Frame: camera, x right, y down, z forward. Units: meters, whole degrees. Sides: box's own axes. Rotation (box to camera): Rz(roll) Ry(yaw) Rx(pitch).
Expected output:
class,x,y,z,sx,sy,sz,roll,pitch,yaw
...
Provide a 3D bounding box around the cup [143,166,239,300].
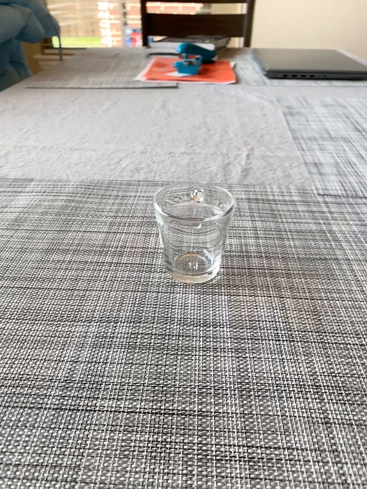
class,x,y,z,sx,sy,sz,roll,pitch,yaw
cup,0.007,-0.011,0.279,0.058,0.060,0.083,2,37,2
